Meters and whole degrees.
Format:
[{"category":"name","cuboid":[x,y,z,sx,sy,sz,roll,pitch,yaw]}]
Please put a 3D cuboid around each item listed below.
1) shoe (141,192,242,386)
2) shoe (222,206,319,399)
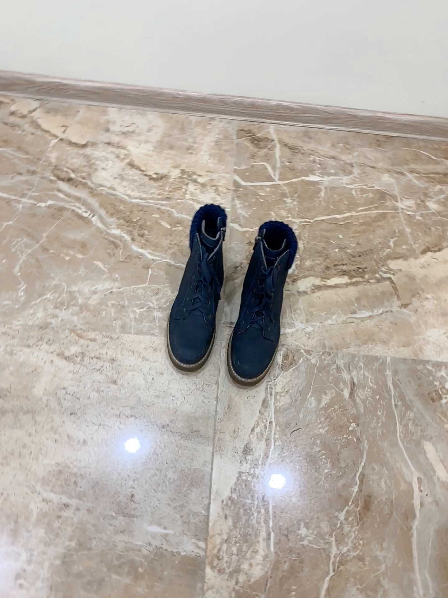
[{"category":"shoe","cuboid":[-0.051,-0.011,0.791,0.101,0.200,0.261,11,65,1]},{"category":"shoe","cuboid":[0.076,0.013,0.791,0.101,0.200,0.261,11,65,1]}]
